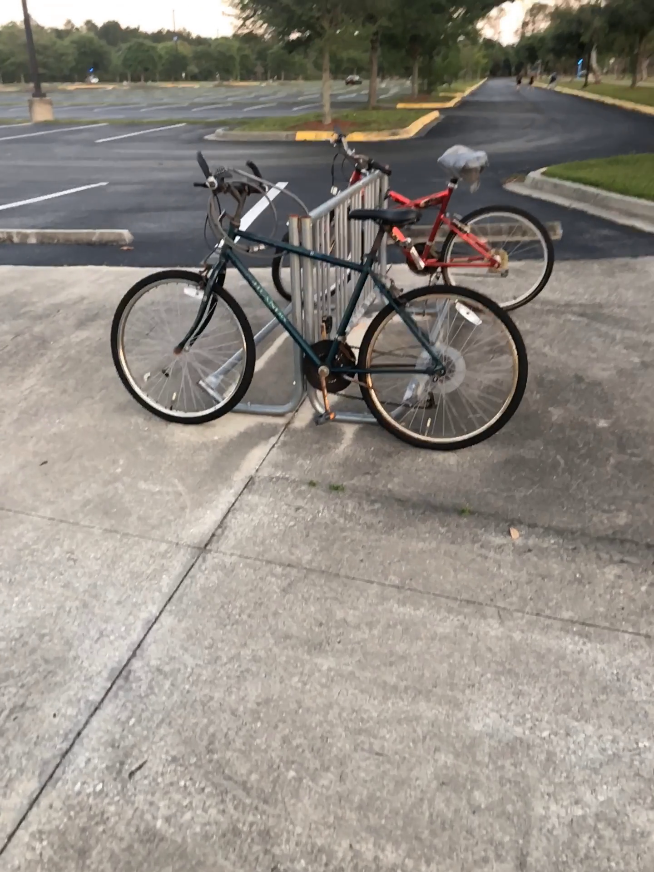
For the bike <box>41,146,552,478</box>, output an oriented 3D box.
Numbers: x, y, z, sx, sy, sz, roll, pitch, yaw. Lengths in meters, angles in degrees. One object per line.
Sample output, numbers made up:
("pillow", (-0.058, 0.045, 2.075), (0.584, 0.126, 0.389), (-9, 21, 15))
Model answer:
("bike", (-0.085, -0.546, 2.868), (1.751, 1.103, 0.587), (6, 27, 14))
